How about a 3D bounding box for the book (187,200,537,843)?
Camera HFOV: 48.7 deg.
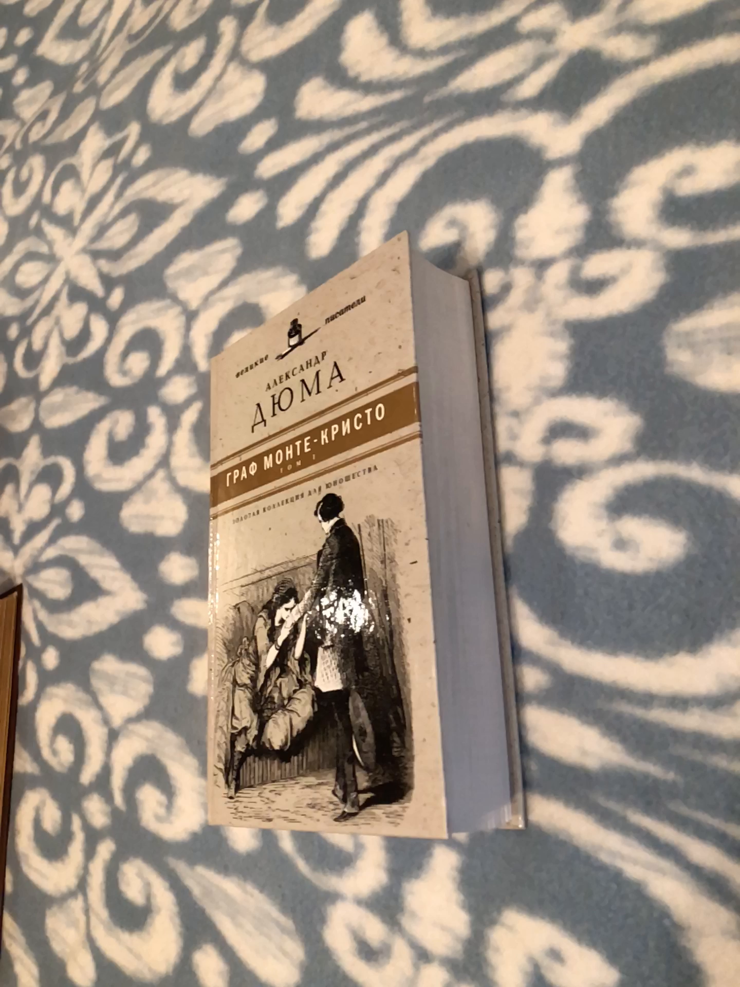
[{"bbox_3d":[-0.015,0.017,0.320,0.138,0.040,0.212,-20,65,43],"label":"book"}]
